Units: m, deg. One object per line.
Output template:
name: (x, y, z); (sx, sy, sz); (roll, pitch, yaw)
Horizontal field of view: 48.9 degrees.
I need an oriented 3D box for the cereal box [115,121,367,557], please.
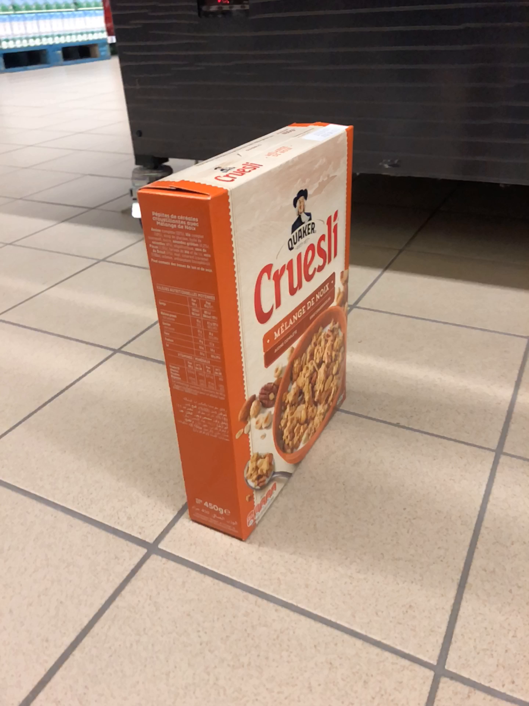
cereal box: (0.004, -0.020, 0.427); (0.060, 0.249, 0.201); (14, 34, 27)
